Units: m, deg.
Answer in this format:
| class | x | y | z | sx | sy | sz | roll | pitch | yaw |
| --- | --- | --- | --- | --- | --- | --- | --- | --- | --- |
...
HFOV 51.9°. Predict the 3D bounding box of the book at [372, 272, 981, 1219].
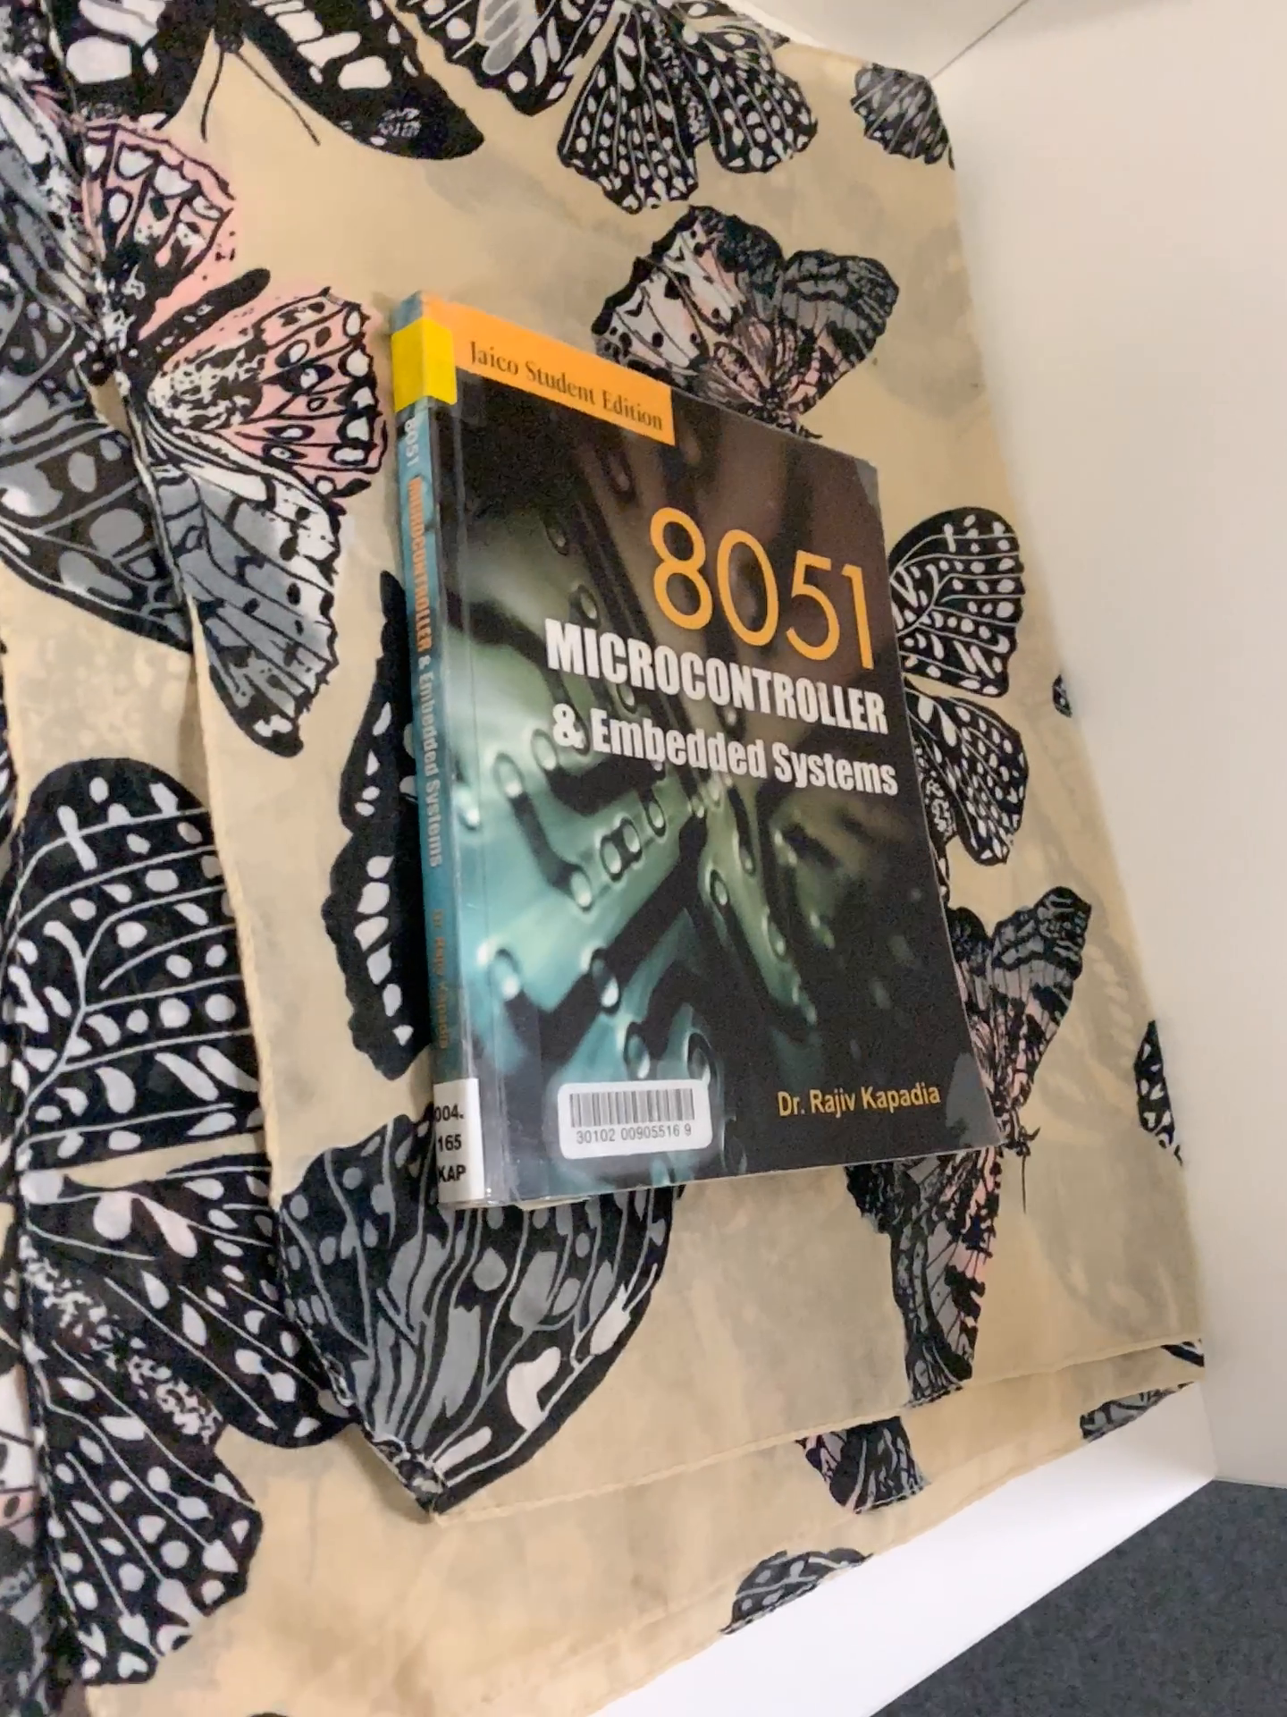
| class | x | y | z | sx | sy | sz | roll | pitch | yaw |
| --- | --- | --- | --- | --- | --- | --- | --- | --- | --- |
| book | 0.015 | -0.028 | 0.379 | 0.184 | 0.020 | 0.236 | 6 | 73 | -40 |
